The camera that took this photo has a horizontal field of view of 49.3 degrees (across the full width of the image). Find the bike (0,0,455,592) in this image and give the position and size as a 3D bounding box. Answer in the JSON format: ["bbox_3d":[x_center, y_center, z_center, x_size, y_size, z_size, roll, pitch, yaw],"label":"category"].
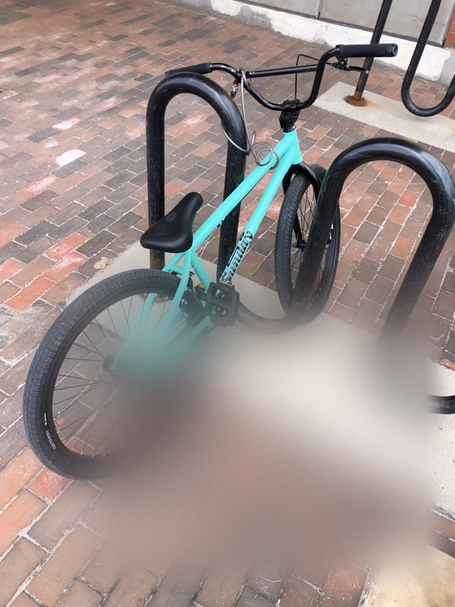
[{"bbox_3d":[-0.009,-0.231,1.477,0.811,1.067,1.469,30,50,23],"label":"bike"}]
